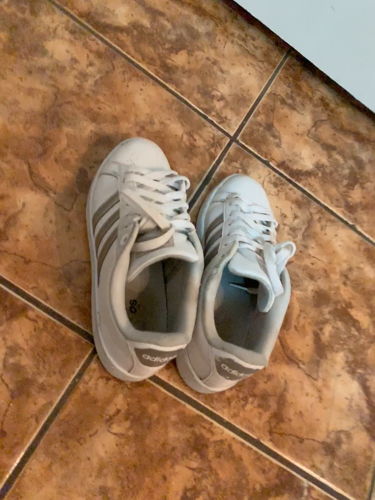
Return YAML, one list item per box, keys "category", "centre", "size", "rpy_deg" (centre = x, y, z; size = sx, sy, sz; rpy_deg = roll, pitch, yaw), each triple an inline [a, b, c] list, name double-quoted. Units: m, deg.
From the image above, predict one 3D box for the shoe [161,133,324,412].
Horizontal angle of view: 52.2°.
- category: "shoe"
  centre: [0.065, 0.020, 0.404]
  size: [0.101, 0.104, 0.257]
  rpy_deg: [22, 59, -14]

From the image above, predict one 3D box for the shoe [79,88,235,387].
- category: "shoe"
  centre: [-0.040, -0.011, 0.370]
  size: [0.101, 0.104, 0.257]
  rpy_deg: [6, 64, -23]
